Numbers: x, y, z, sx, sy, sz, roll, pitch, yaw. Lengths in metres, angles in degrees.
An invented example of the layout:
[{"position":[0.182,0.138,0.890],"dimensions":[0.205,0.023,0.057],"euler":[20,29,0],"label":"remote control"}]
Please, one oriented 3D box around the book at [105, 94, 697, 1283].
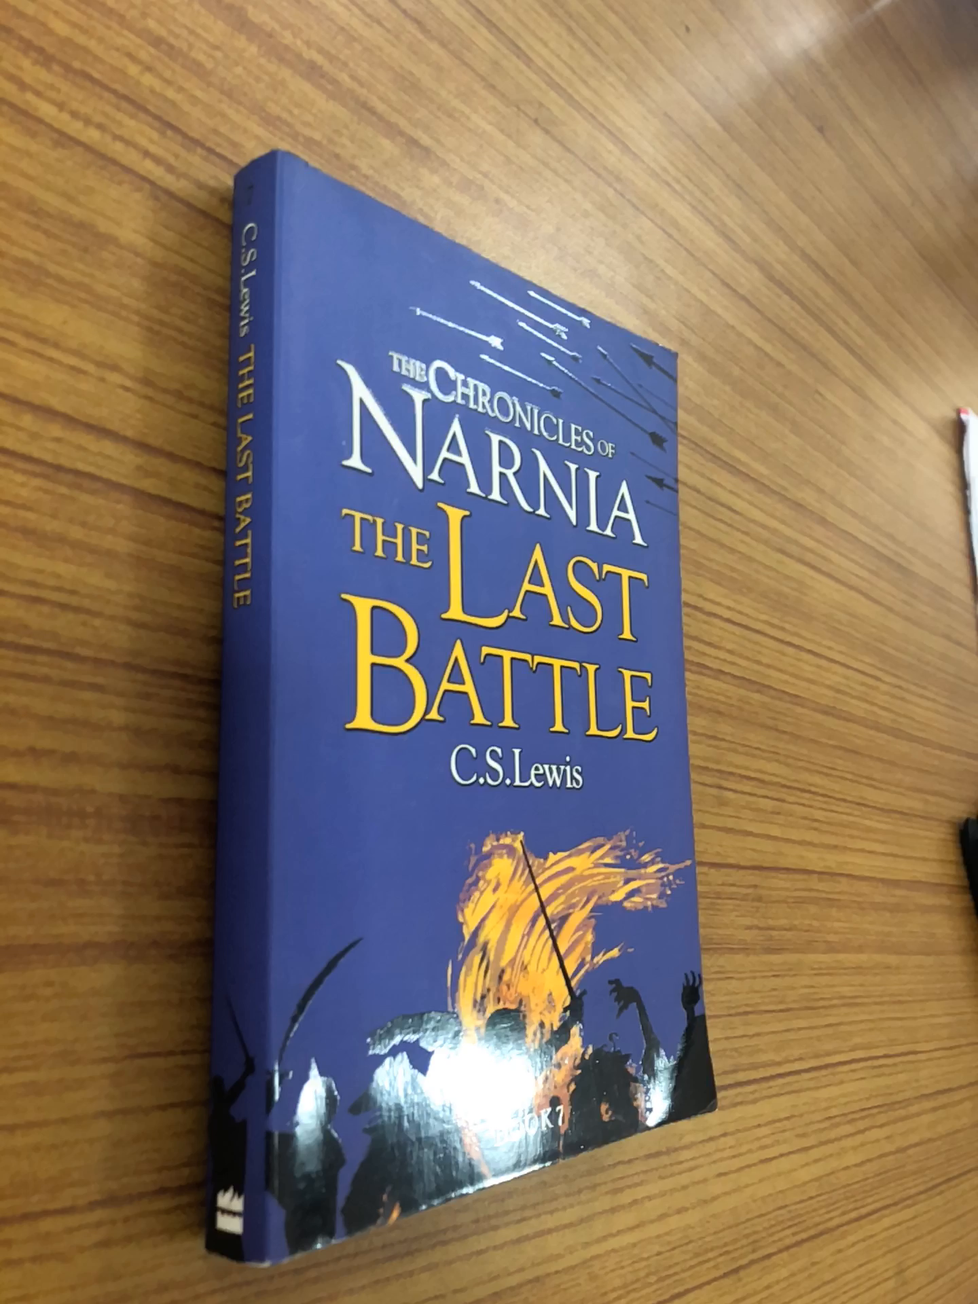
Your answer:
[{"position":[-0.008,0.007,0.244],"dimensions":[0.141,0.030,0.200],"euler":[10,76,-47],"label":"book"}]
